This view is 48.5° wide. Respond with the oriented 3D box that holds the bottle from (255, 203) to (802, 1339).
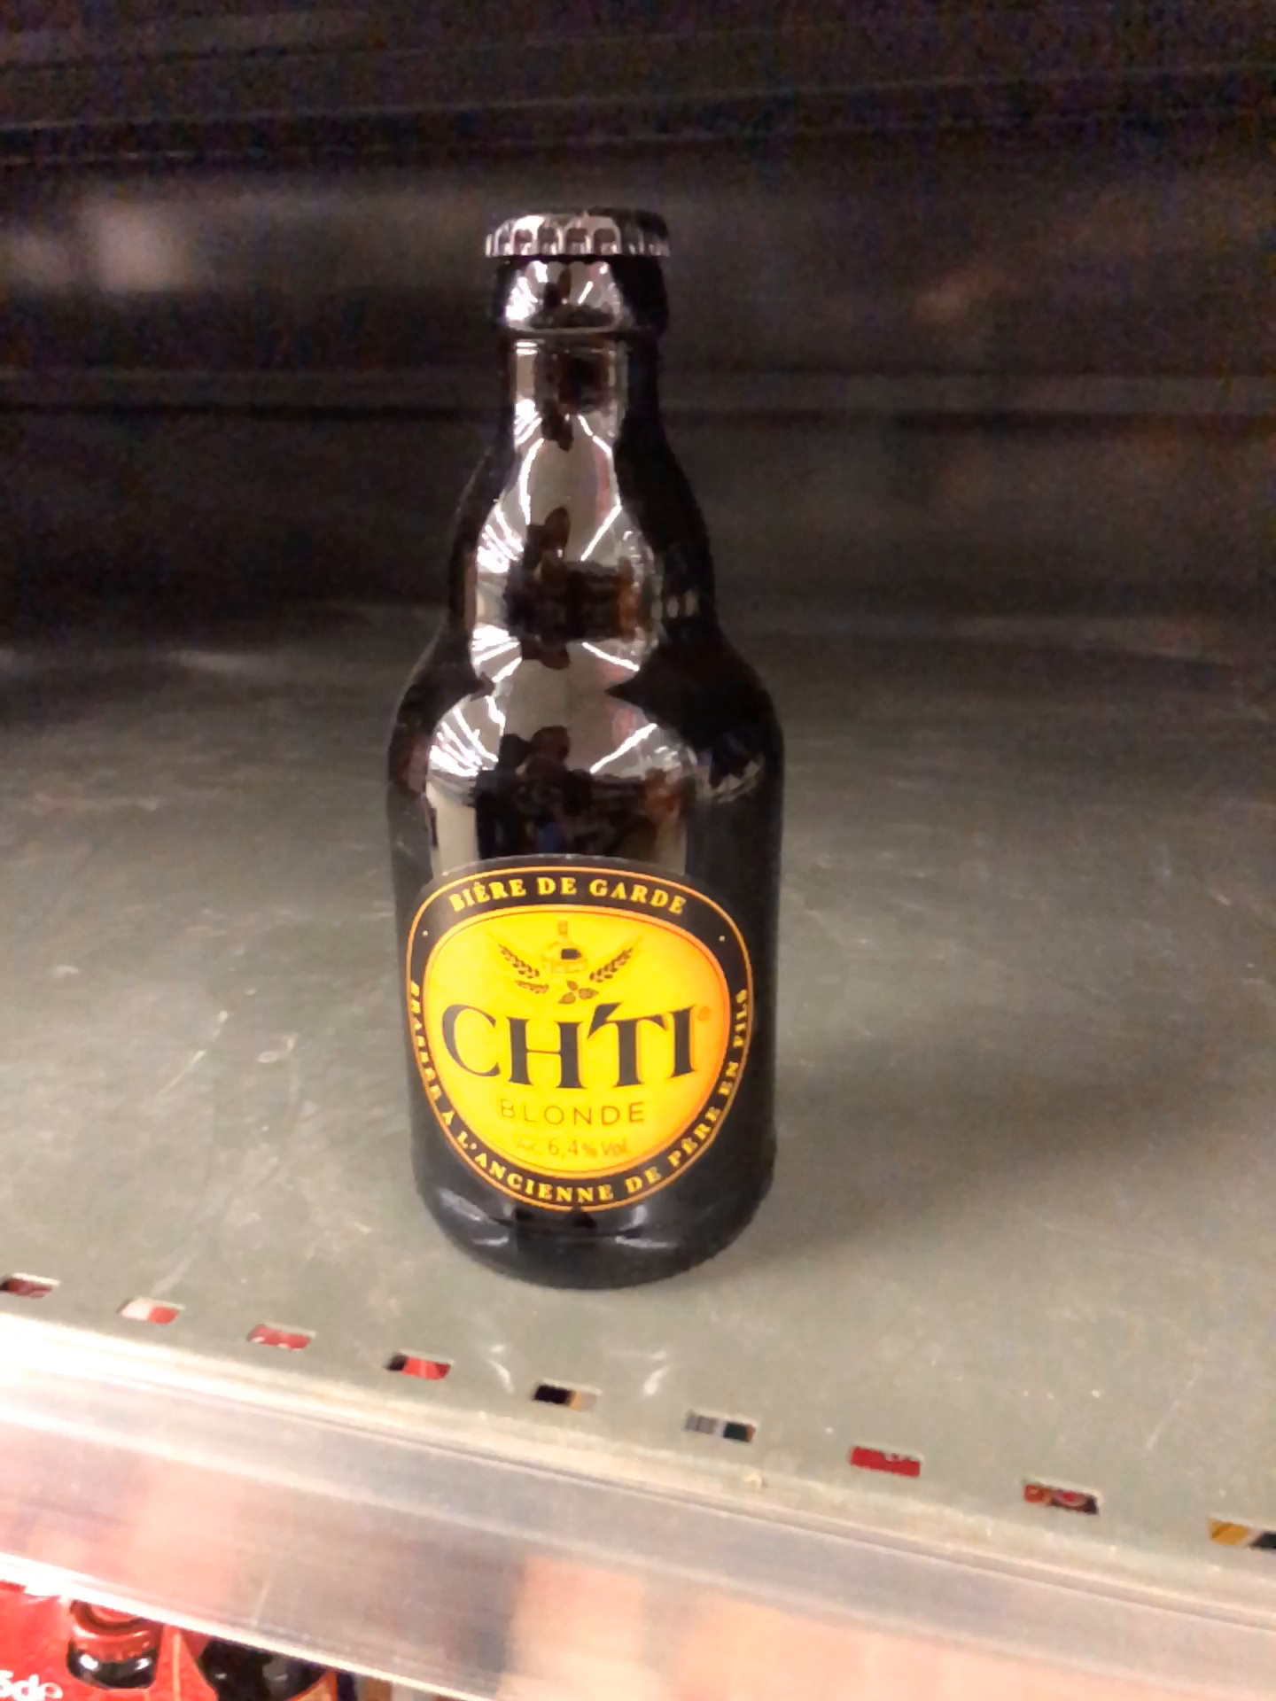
[{"bbox_3d":[-0.010,-0.013,0.240,0.070,0.169,0.070,-1,19,0],"label":"bottle"}]
